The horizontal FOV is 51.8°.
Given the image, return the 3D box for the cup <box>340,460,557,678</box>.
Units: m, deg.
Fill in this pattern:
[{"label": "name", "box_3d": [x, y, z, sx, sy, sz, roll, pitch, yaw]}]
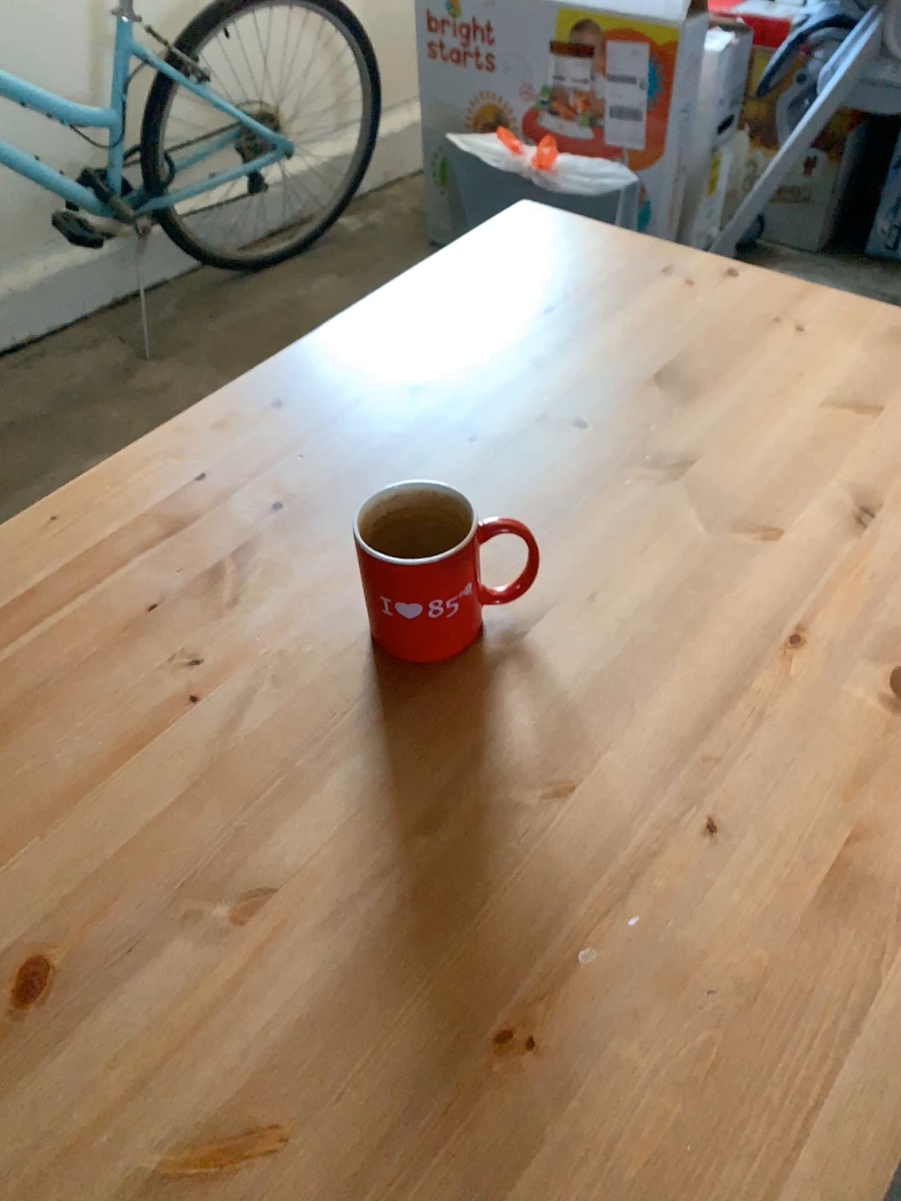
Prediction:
[{"label": "cup", "box_3d": [-0.003, -0.021, 0.623, 0.130, 0.090, 0.100, -5, 47, -1]}]
